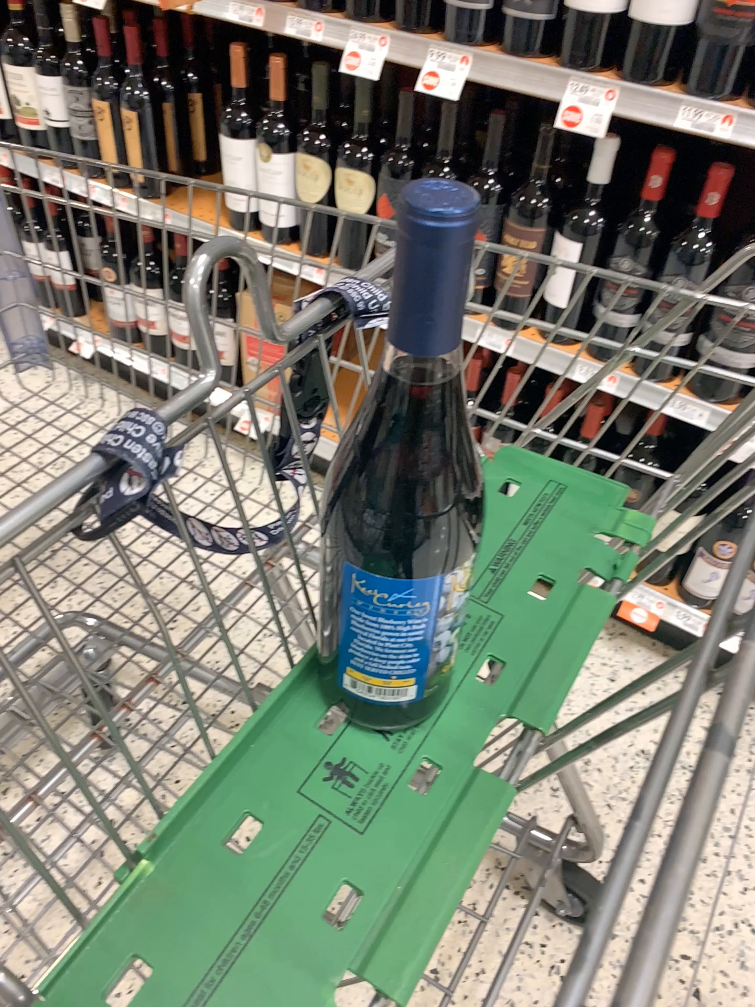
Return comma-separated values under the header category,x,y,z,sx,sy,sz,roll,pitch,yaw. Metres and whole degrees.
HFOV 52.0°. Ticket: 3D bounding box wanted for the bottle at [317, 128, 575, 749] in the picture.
category,x,y,z,sx,sy,sz,roll,pitch,yaw
bottle,0.020,-0.004,0.356,0.074,0.286,0.081,2,43,-2
